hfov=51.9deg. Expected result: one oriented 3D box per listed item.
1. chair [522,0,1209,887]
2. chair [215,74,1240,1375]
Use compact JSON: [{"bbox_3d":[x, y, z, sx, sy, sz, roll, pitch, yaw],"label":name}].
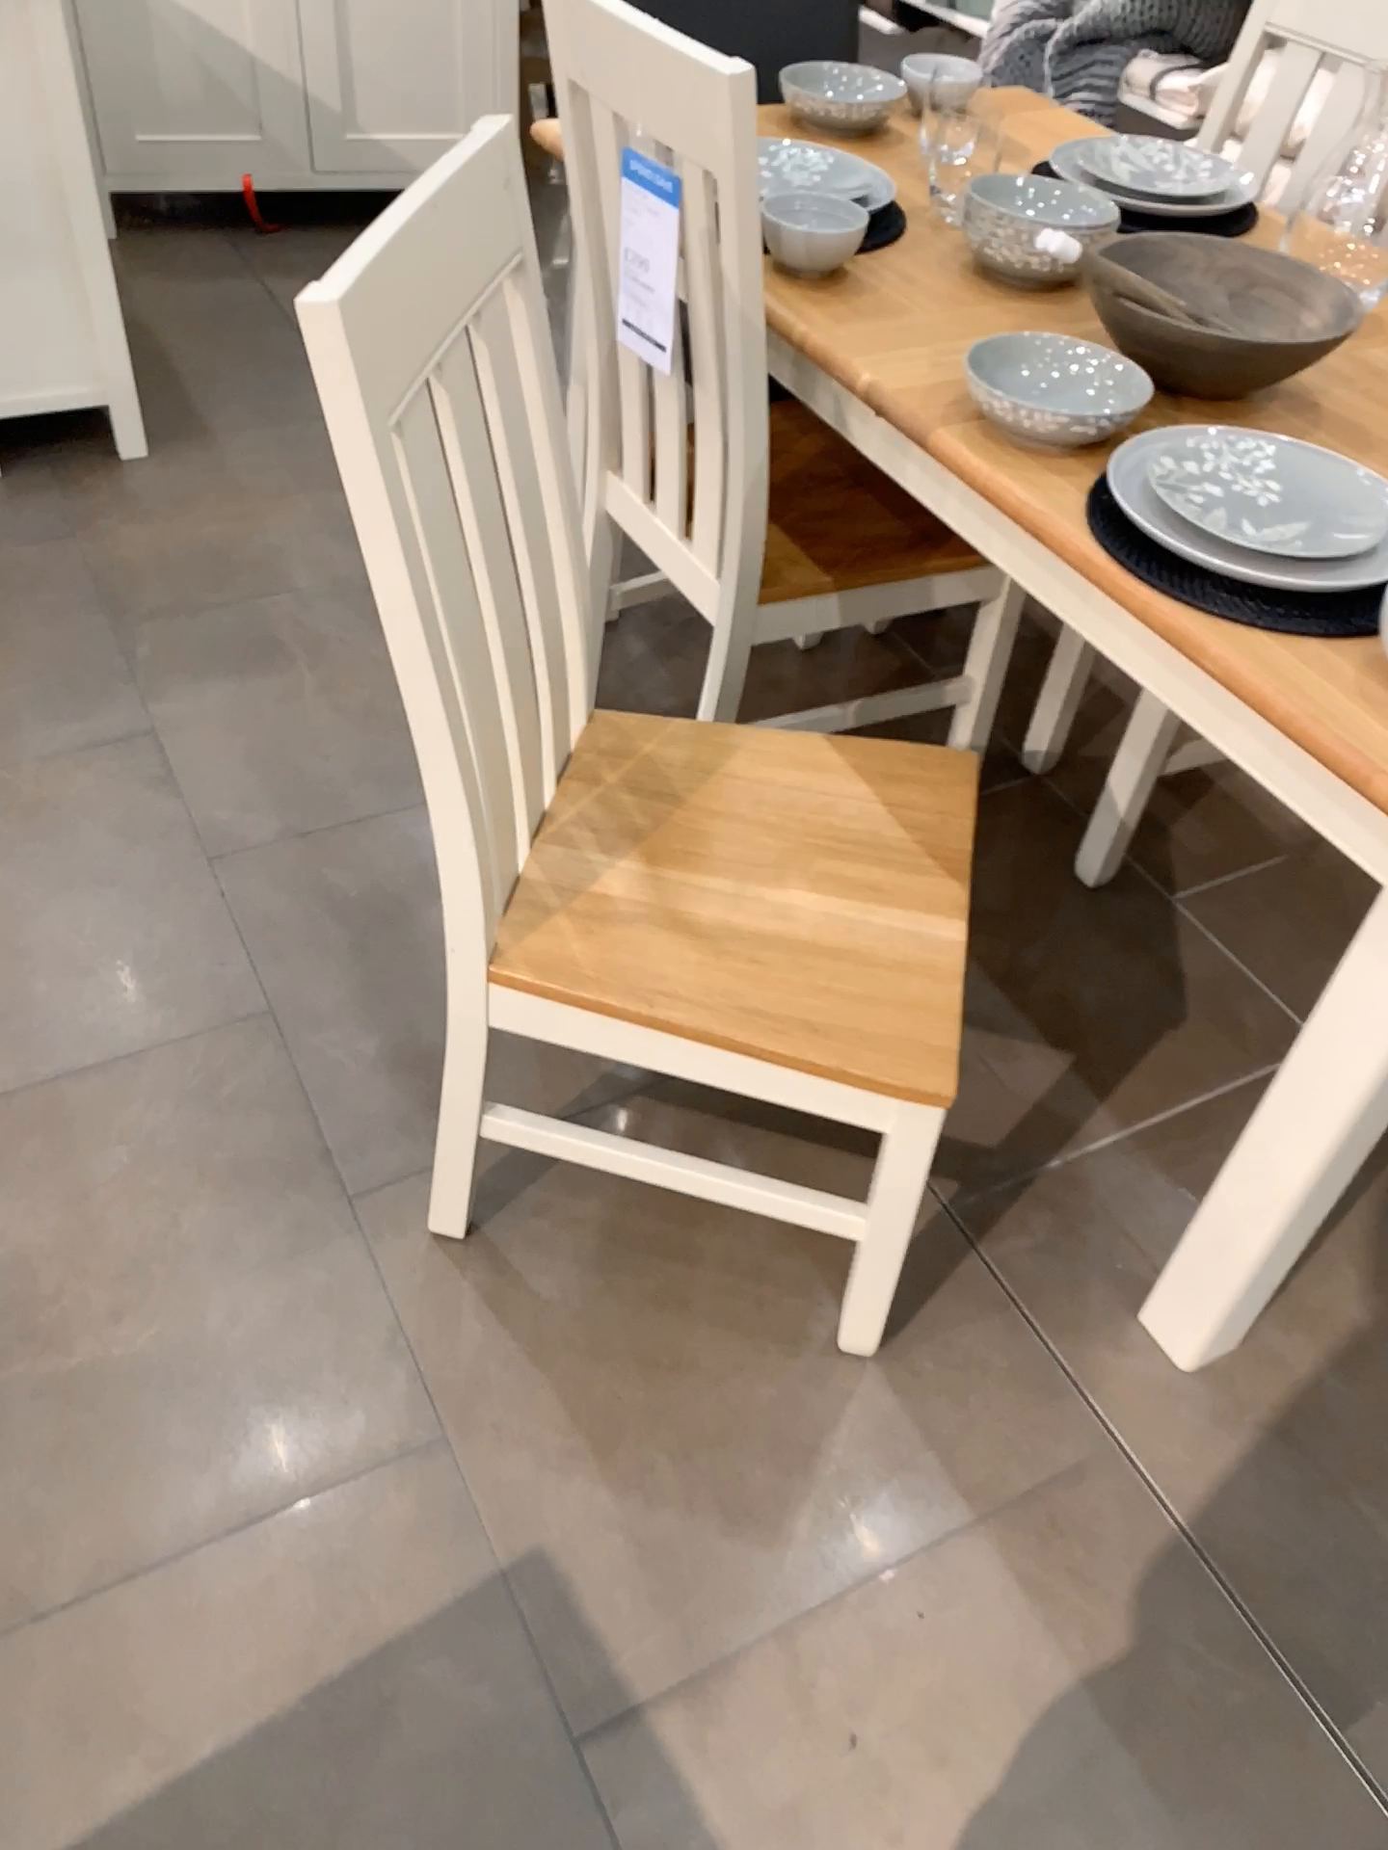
[{"bbox_3d":[0.124,-0.603,1.765,0.537,0.924,0.475,-15,48,-21],"label":"chair"},{"bbox_3d":[0.018,-0.121,1.247,0.546,0.924,0.506,11,44,4],"label":"chair"}]
